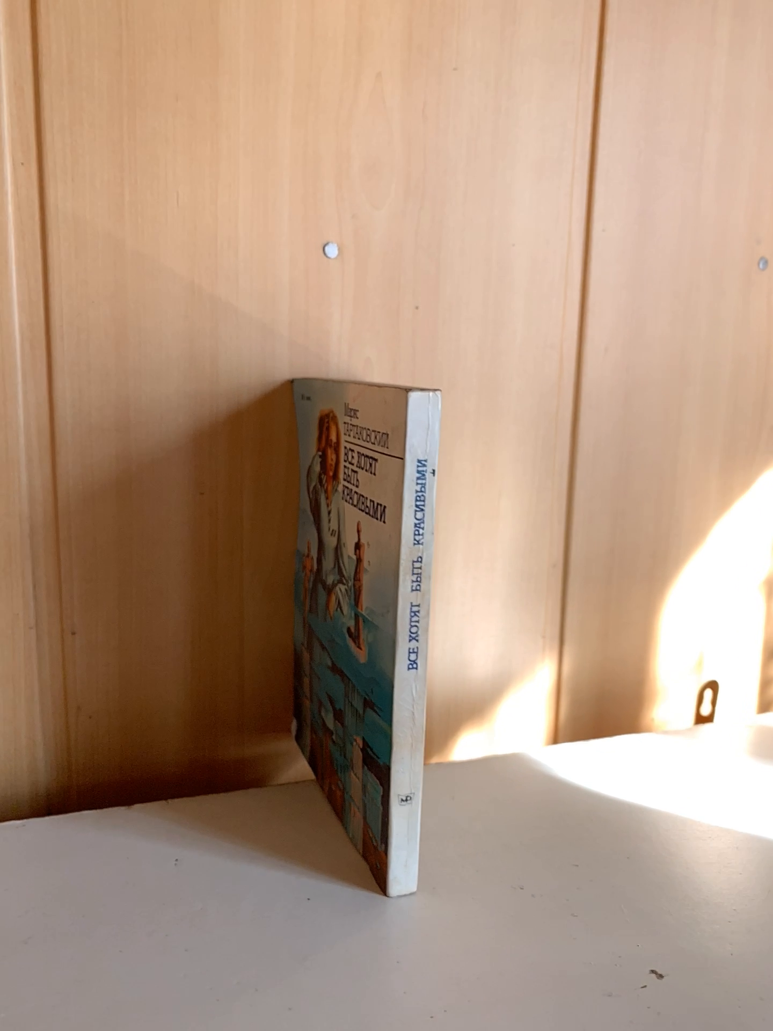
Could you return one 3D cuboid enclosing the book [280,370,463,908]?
[{"bbox_3d":[-0.013,0.029,0.296,0.029,0.159,0.125,-1,11,-17],"label":"book"}]
